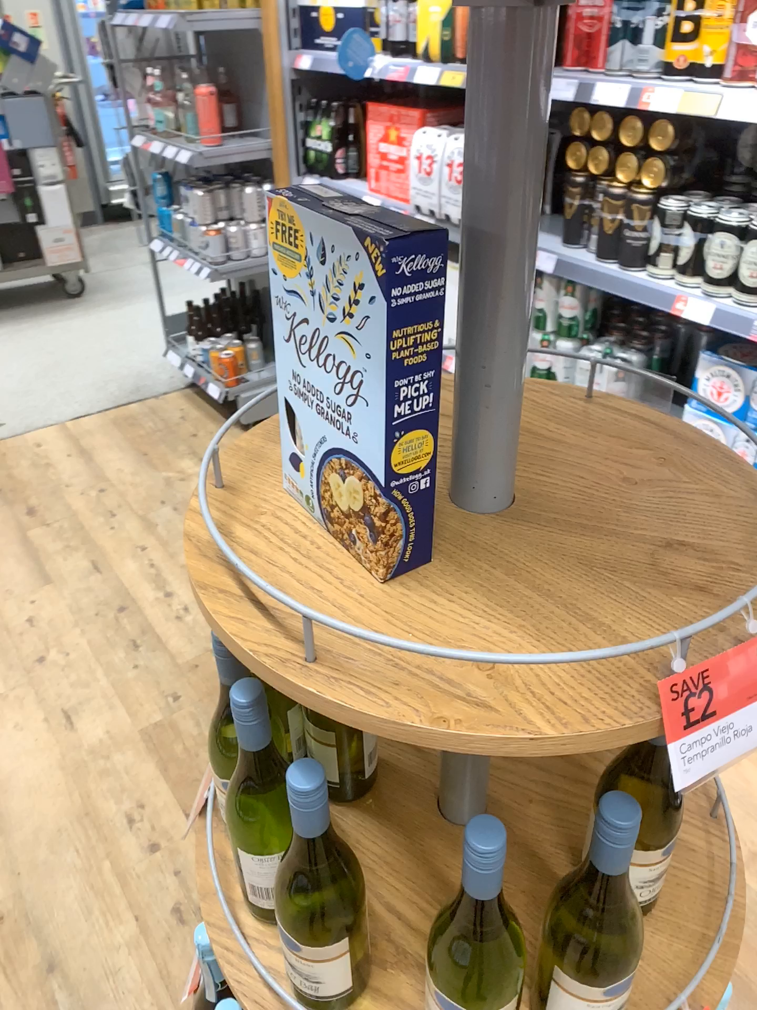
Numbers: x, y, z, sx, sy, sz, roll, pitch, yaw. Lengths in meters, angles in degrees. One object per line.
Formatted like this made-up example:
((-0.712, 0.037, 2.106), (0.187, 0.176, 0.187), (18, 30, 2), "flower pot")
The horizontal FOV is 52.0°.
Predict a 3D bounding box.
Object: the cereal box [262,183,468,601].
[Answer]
((-0.016, -0.083, 0.558), (0.050, 0.248, 0.171), (-18, 37, -26), "cereal box")
